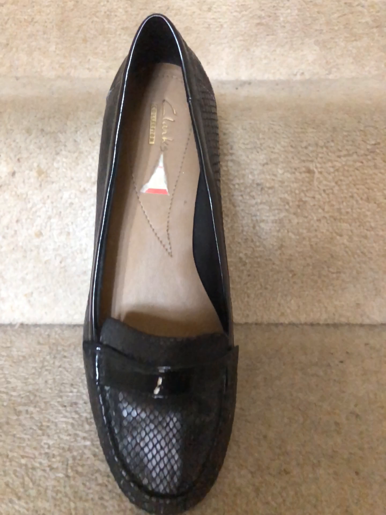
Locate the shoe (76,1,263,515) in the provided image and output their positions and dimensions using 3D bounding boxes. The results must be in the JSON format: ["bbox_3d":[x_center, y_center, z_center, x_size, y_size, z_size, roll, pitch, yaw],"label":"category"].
[{"bbox_3d":[-0.014,0.004,0.250,0.090,0.260,0.070,1,0,-5],"label":"shoe"}]
